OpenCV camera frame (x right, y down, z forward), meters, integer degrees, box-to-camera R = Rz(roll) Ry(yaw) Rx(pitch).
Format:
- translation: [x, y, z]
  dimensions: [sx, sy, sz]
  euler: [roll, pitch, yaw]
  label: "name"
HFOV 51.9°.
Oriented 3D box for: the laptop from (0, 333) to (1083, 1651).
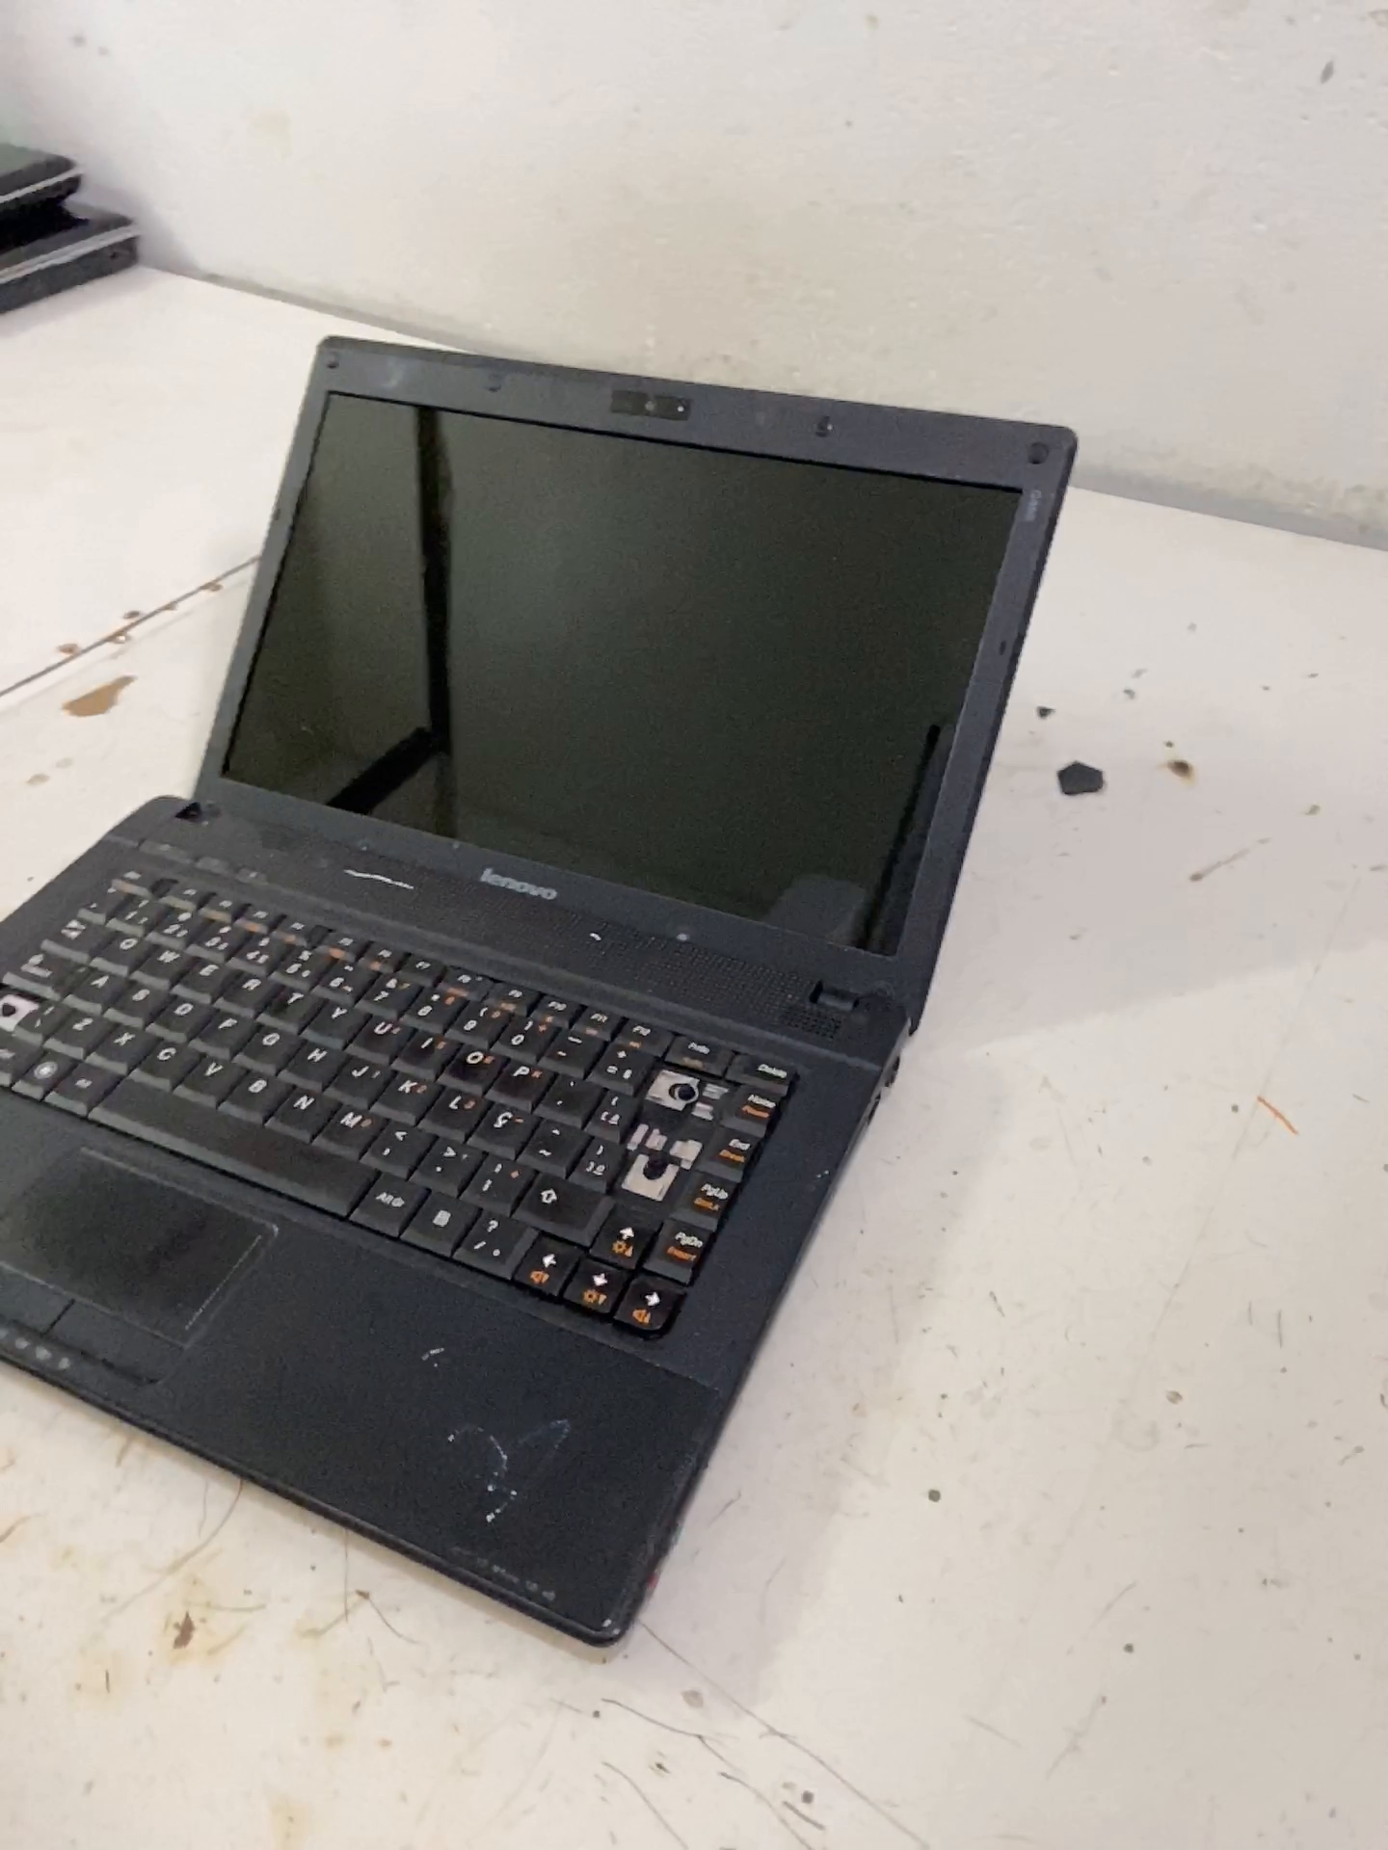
- translation: [-0.098, -0.048, 0.518]
  dimensions: [0.357, 0.147, 0.424]
  euler: [15, 45, 21]
  label: "laptop"
